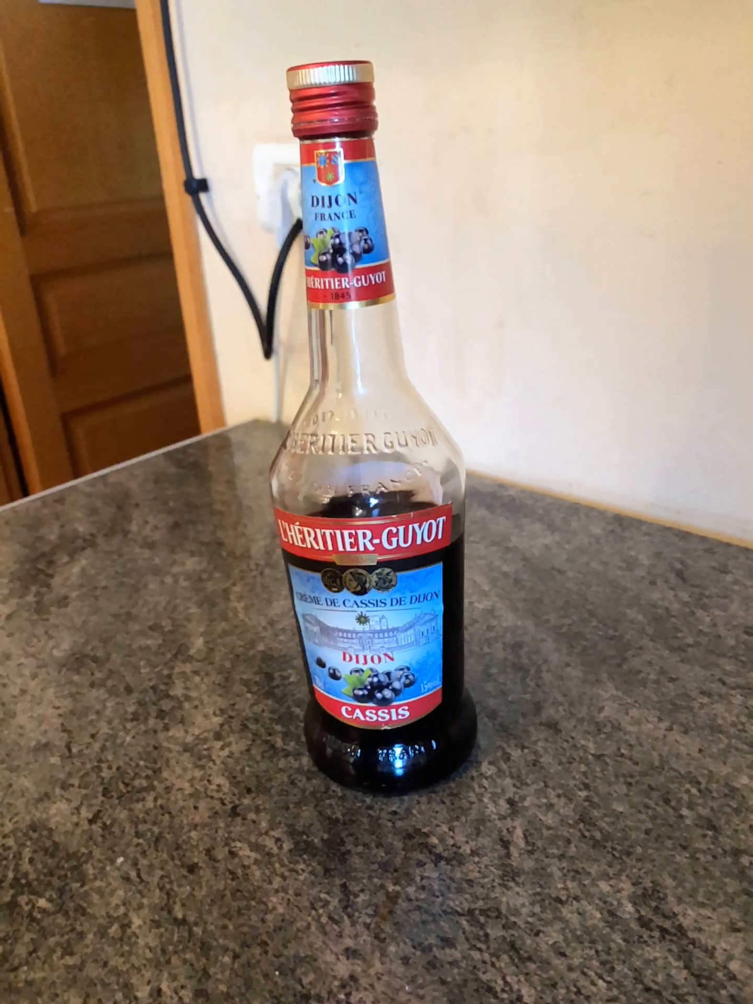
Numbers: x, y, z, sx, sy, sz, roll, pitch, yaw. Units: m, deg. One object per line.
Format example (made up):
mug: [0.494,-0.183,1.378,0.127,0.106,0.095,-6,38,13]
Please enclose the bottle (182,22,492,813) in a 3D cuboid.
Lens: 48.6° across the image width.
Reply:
bottle: [0.000,-0.021,0.350,0.090,0.299,0.091,-3,23,1]
